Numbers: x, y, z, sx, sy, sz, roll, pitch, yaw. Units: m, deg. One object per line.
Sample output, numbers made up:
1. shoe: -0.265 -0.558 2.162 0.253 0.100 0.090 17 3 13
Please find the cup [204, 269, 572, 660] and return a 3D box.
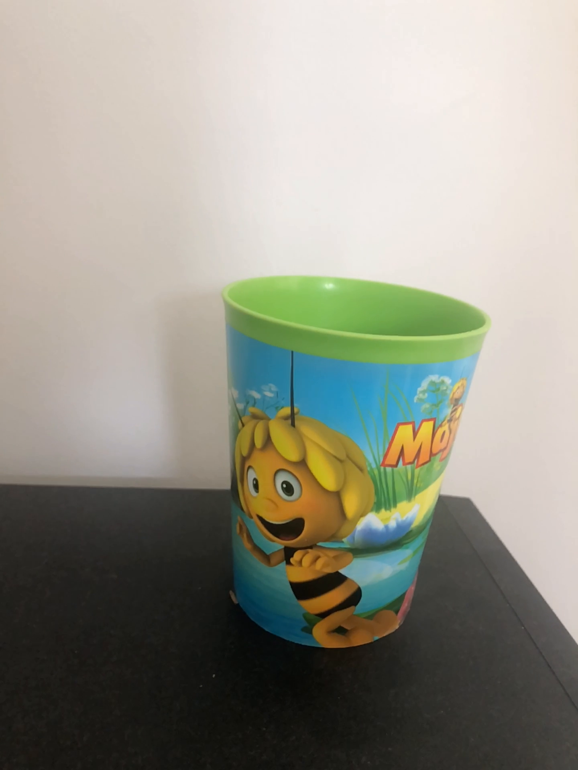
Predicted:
1. cup: 0.019 0.018 0.203 0.080 0.090 0.080 5 18 -2
